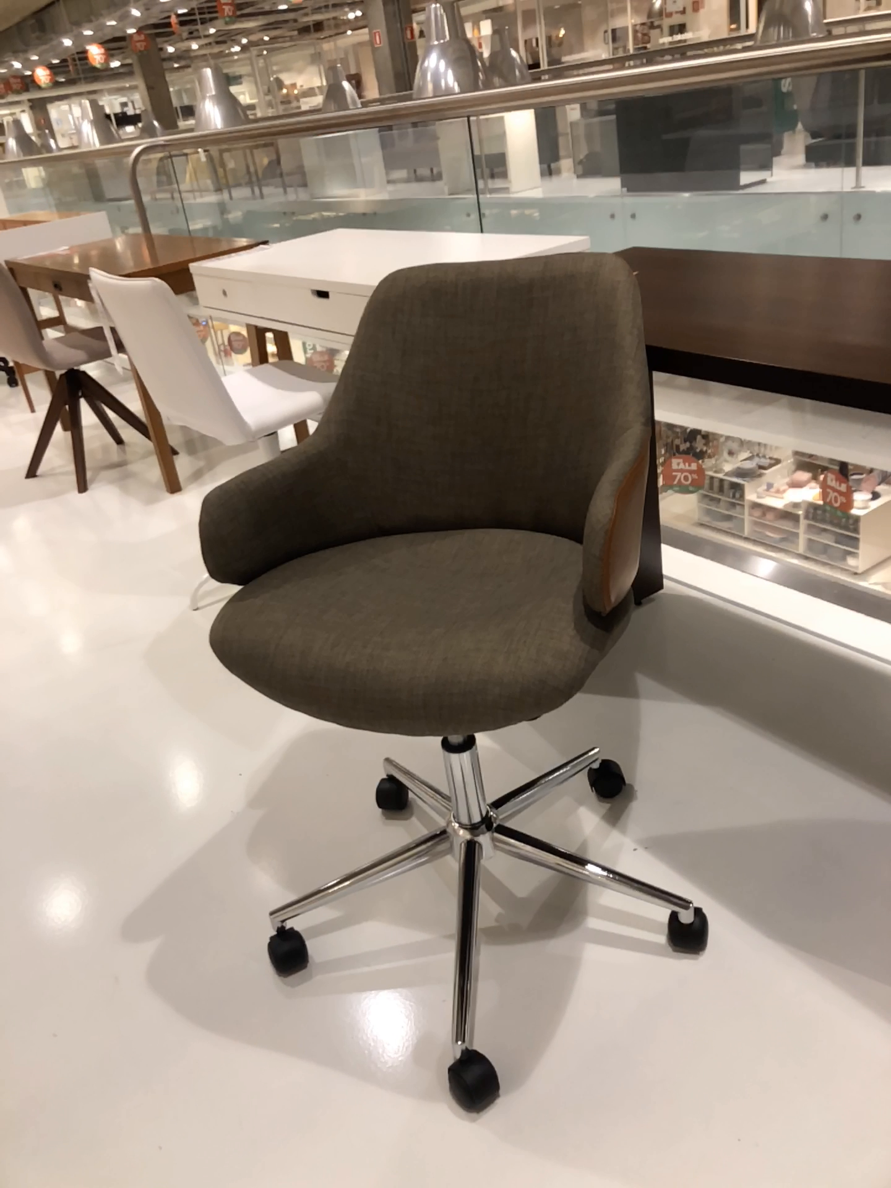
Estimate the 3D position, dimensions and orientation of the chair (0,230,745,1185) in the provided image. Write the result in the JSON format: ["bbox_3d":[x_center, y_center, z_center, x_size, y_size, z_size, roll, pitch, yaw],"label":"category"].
[{"bbox_3d":[0.026,0.076,1.283,0.611,0.884,0.704,3,29,24],"label":"chair"}]
